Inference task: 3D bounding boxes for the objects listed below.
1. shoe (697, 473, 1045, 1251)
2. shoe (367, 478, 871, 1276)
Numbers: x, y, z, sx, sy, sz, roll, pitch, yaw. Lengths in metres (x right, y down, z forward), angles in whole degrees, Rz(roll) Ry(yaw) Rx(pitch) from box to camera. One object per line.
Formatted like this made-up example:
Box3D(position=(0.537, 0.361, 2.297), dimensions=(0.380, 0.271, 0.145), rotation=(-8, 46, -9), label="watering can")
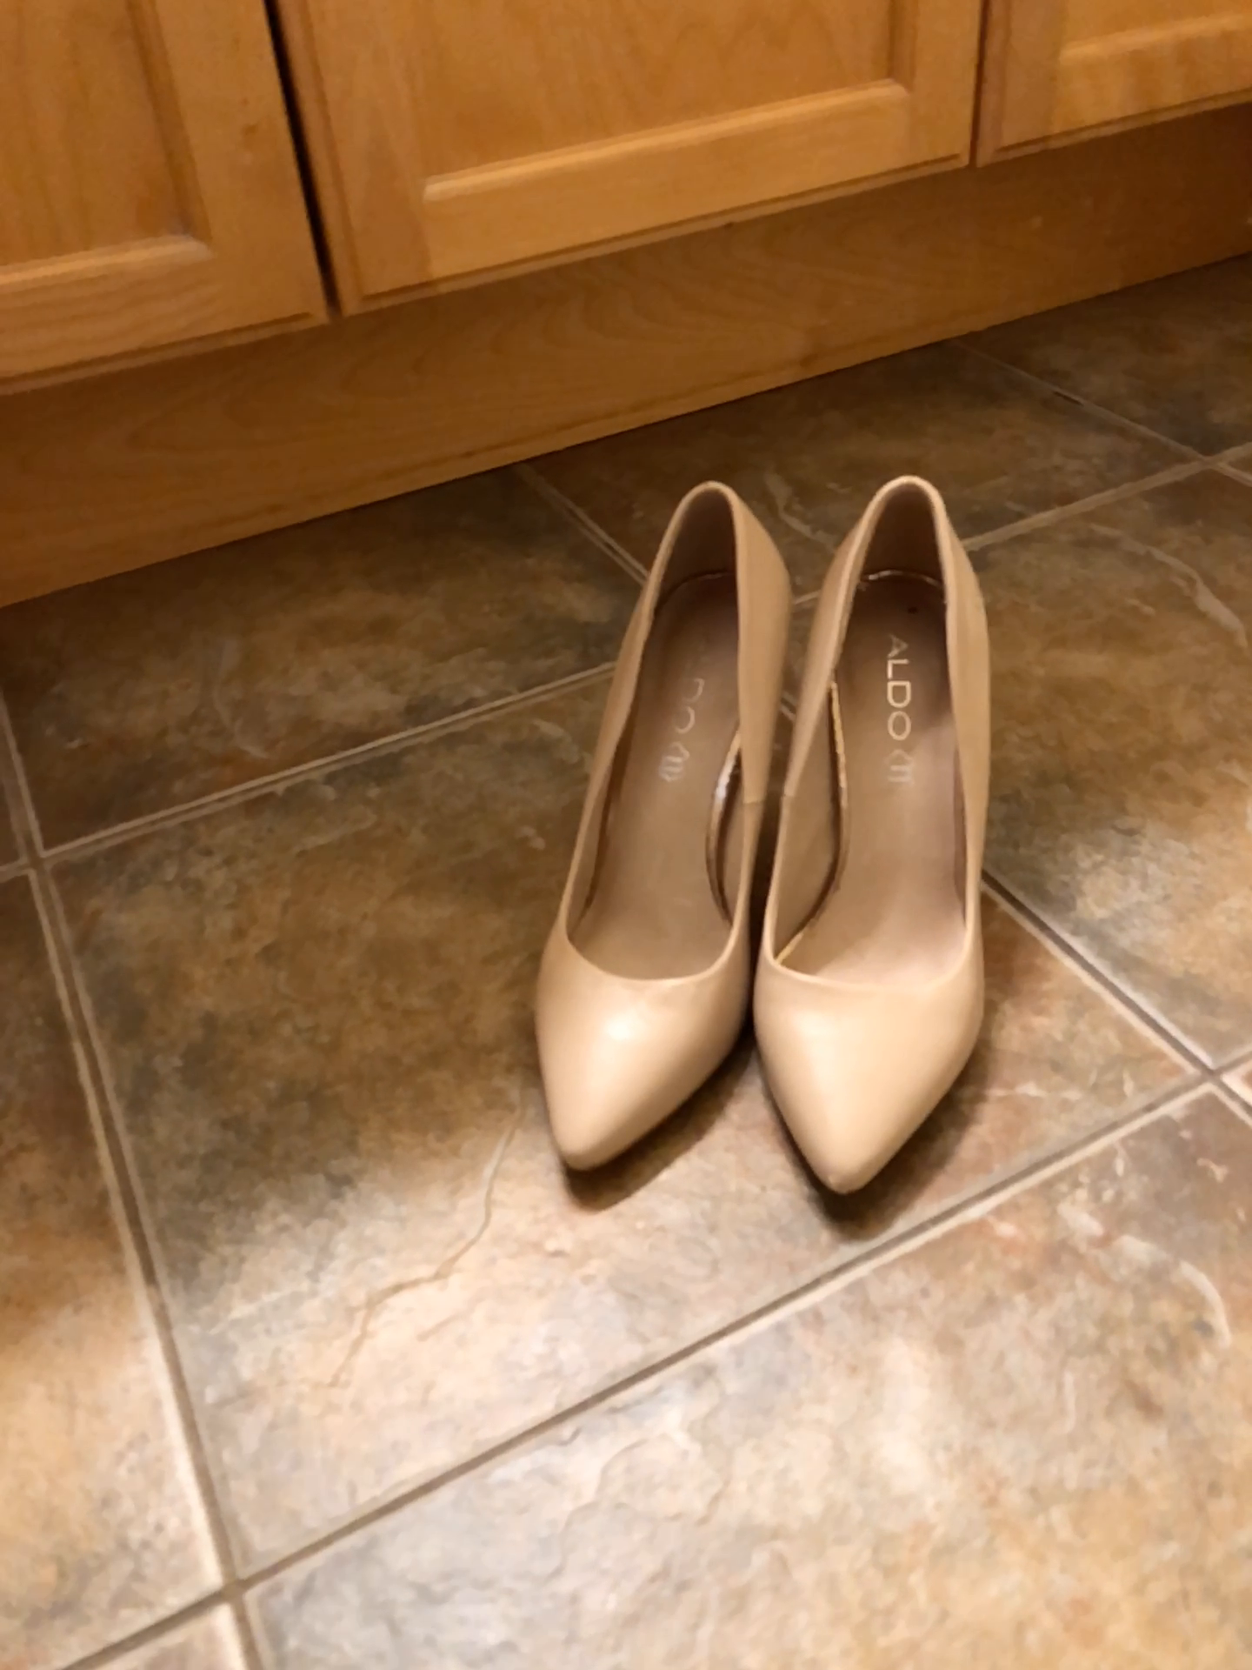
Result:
Box3D(position=(0.087, -0.007, 0.448), dimensions=(0.080, 0.129, 0.231), rotation=(5, 40, 13), label="shoe")
Box3D(position=(0.016, 0.000, 0.469), dimensions=(0.080, 0.149, 0.231), rotation=(10, 41, 18), label="shoe")
